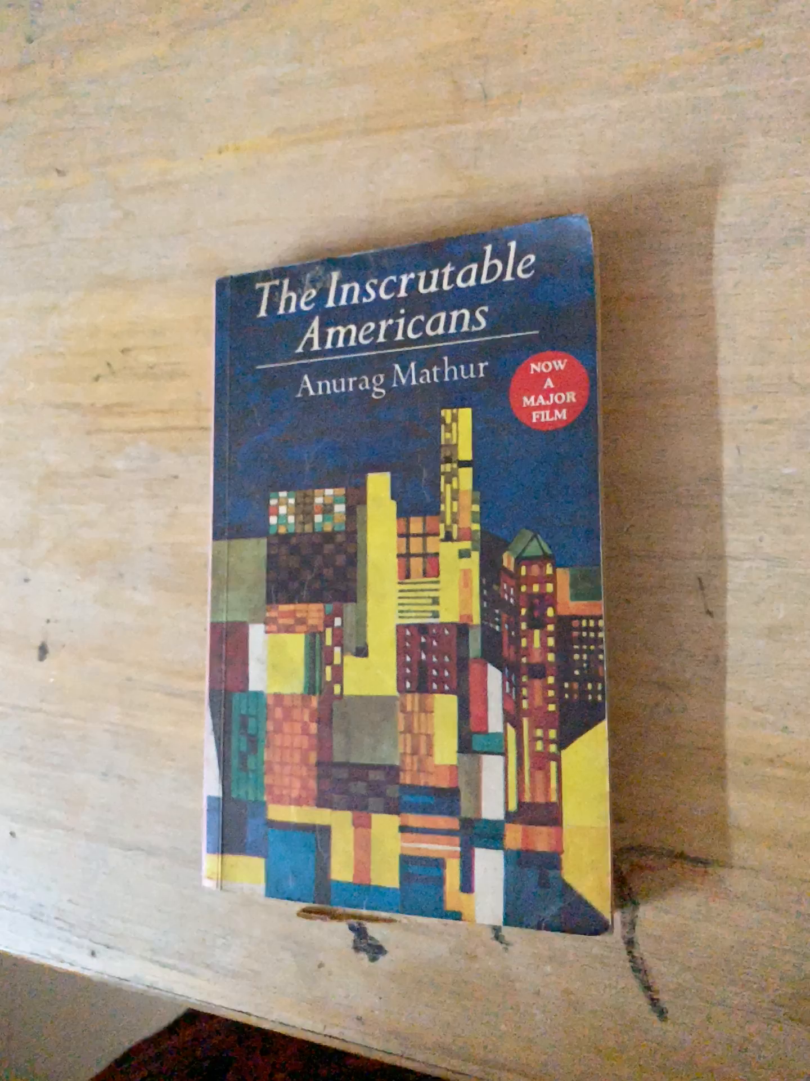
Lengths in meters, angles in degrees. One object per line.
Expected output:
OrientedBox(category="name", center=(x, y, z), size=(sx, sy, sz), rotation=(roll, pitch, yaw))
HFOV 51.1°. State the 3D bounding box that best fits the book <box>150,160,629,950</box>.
OrientedBox(category="book", center=(-0.007, 0.003, 0.227), size=(0.120, 0.030, 0.180), rotation=(-3, 84, 19))
